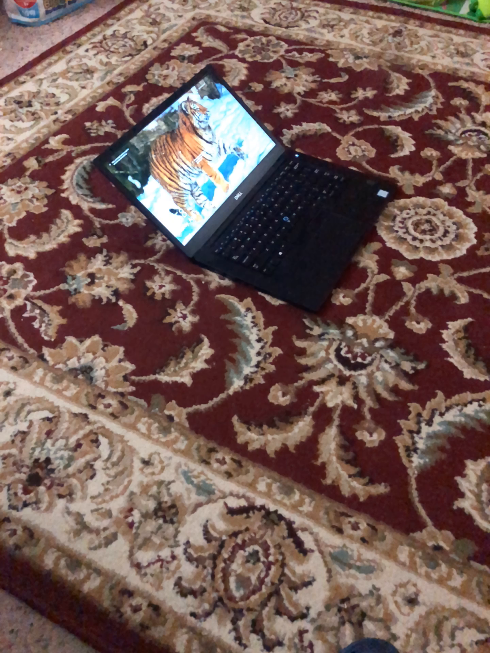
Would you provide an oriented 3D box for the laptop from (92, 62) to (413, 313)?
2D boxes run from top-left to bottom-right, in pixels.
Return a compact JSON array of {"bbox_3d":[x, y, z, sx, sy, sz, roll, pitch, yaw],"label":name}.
[{"bbox_3d":[0.019,-0.249,0.879,0.384,0.124,0.328,24,58,18],"label":"laptop"}]
